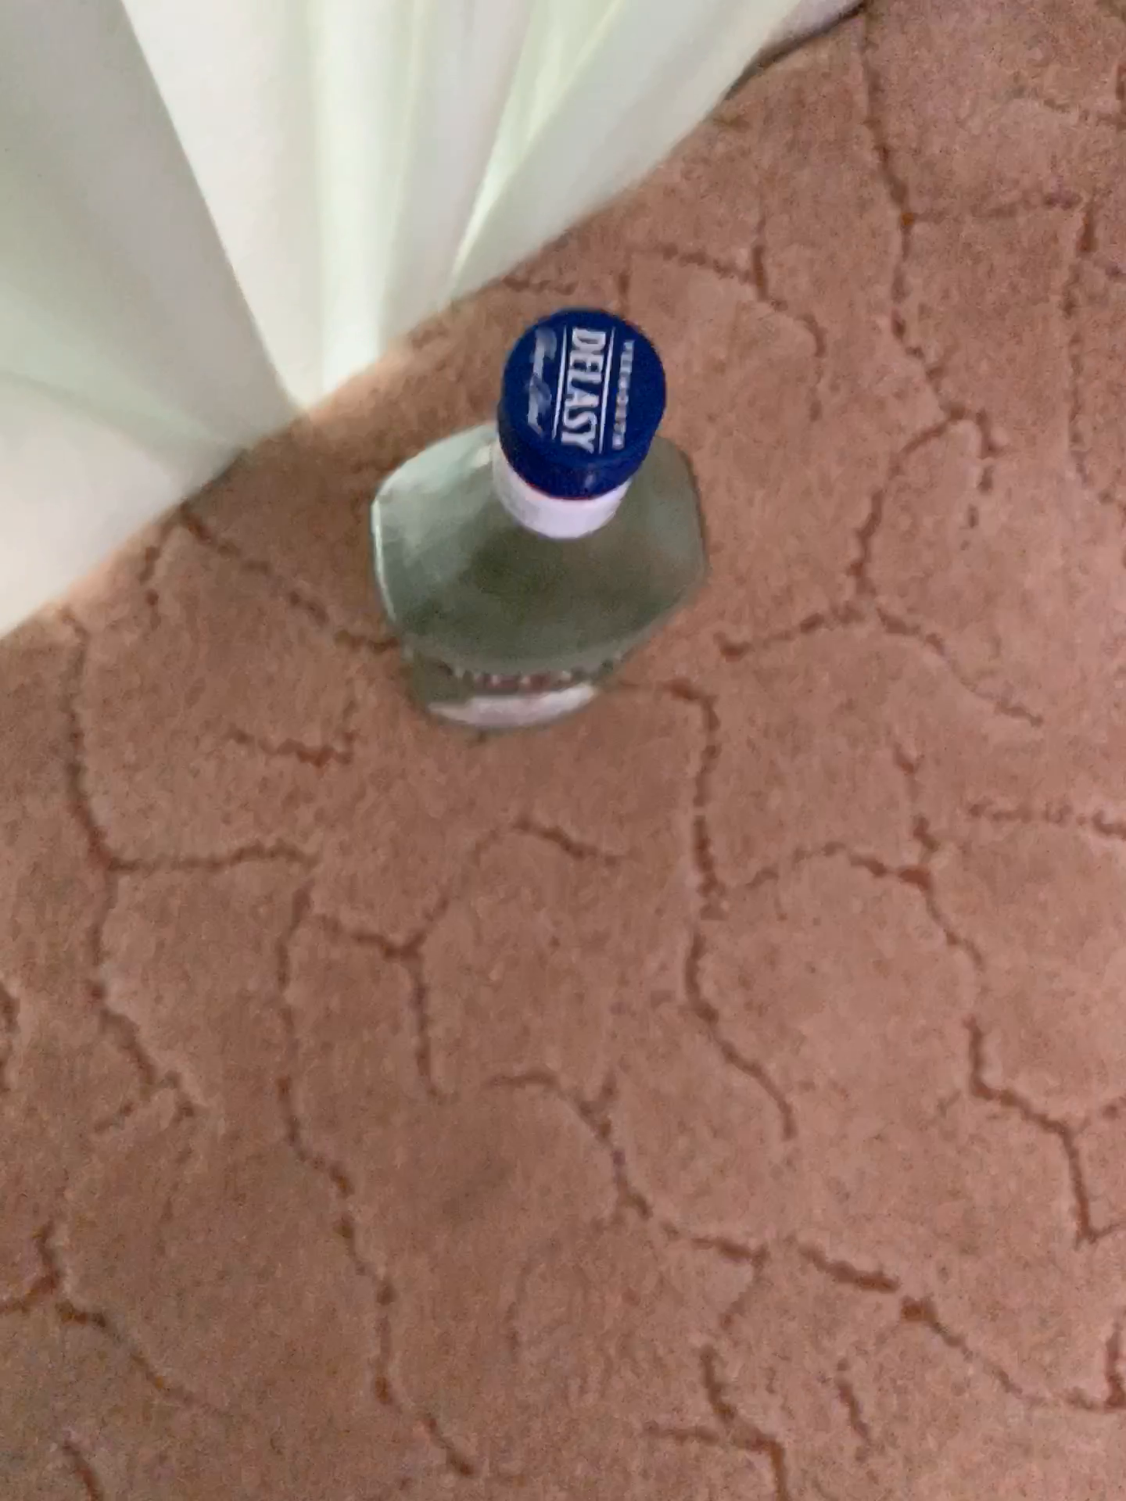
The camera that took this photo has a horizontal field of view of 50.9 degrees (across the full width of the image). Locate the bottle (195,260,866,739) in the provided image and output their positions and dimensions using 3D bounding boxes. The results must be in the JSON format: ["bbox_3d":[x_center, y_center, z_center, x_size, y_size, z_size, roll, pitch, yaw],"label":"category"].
[{"bbox_3d":[-0.013,-0.045,0.364,0.110,0.330,0.060,-3,88,-3],"label":"bottle"}]
